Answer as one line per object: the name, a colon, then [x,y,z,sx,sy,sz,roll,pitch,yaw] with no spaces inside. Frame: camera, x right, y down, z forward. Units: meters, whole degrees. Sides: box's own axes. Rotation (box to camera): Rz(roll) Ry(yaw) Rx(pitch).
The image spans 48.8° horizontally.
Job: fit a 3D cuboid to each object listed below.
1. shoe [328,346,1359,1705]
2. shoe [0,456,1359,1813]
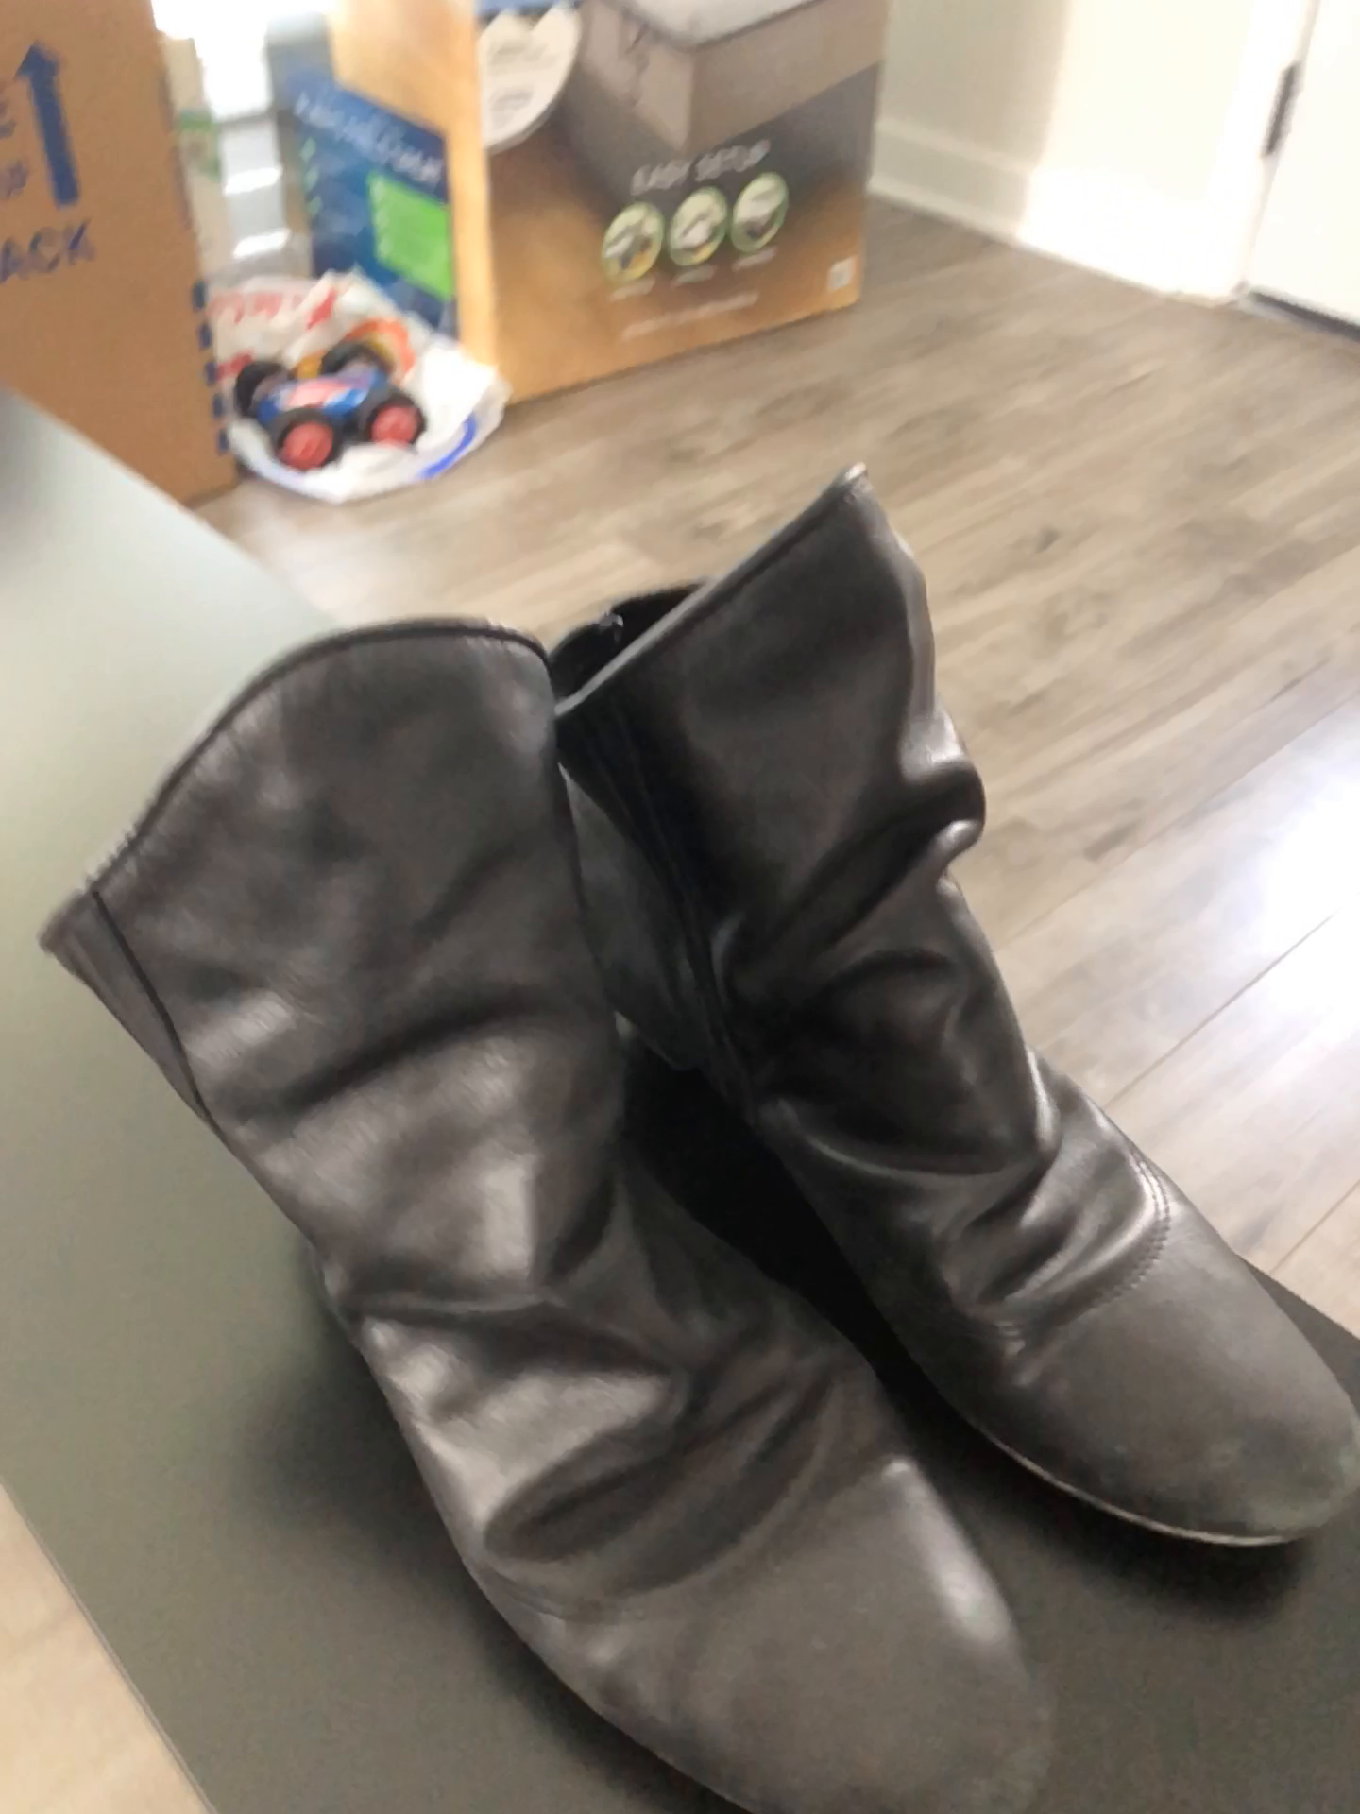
shoe: [0.048,0.010,0.340,0.101,0.169,0.261,-32,52,-32]
shoe: [-0.025,0.050,0.290,0.101,0.169,0.251,-32,52,-32]
